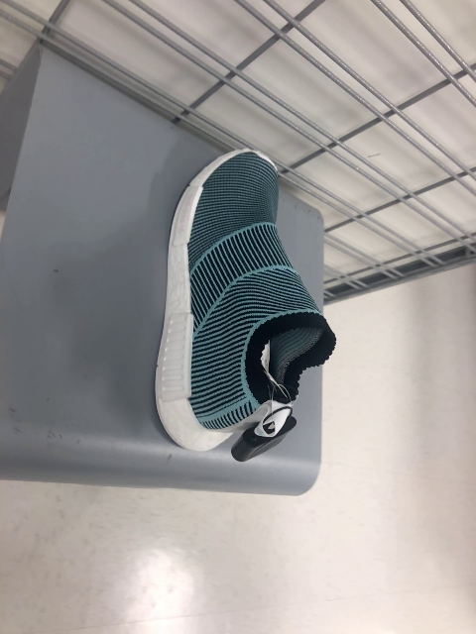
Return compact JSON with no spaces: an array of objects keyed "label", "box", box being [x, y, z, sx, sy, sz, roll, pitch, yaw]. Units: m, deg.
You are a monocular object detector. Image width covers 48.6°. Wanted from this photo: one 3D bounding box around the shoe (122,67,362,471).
[{"label":"shoe","box":[0.013,-0.031,0.457,0.121,0.129,0.300,23,65,-38]}]
